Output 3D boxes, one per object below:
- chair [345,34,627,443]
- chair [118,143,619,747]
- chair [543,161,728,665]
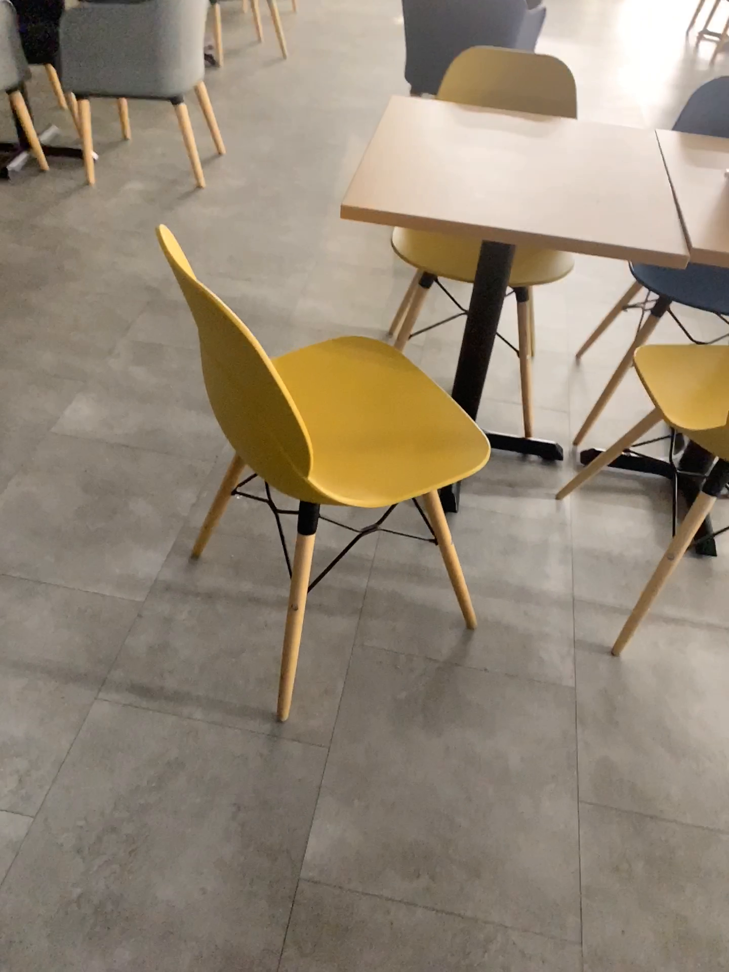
[{"bbox_3d":[0.254,-0.596,1.843,0.497,0.776,0.497,8,43,4],"label":"chair"},{"bbox_3d":[-0.039,-0.067,1.284,0.493,0.786,0.520,-20,49,-24],"label":"chair"},{"bbox_3d":[0.716,-0.100,1.374,0.497,0.776,0.497,1,43,-4],"label":"chair"}]
